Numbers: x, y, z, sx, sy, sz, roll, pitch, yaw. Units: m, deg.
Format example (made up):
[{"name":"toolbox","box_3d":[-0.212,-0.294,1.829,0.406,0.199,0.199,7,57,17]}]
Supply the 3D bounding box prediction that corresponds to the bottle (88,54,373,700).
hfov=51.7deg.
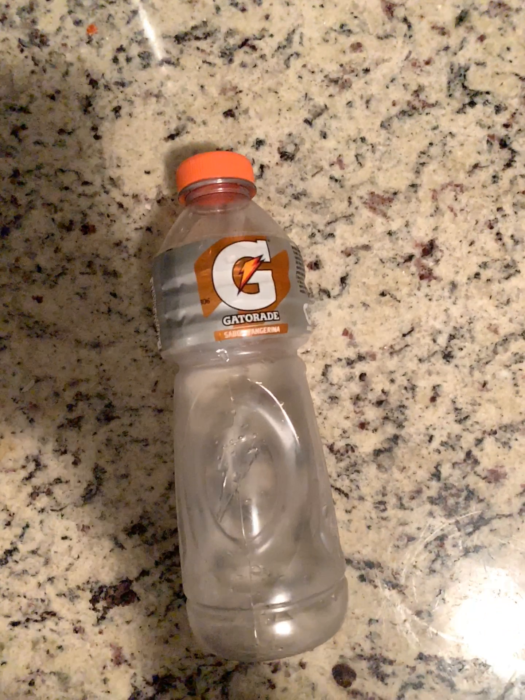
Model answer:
[{"name":"bottle","box_3d":[-0.011,0.011,0.220,0.070,0.070,0.220,-8,86,4]}]
